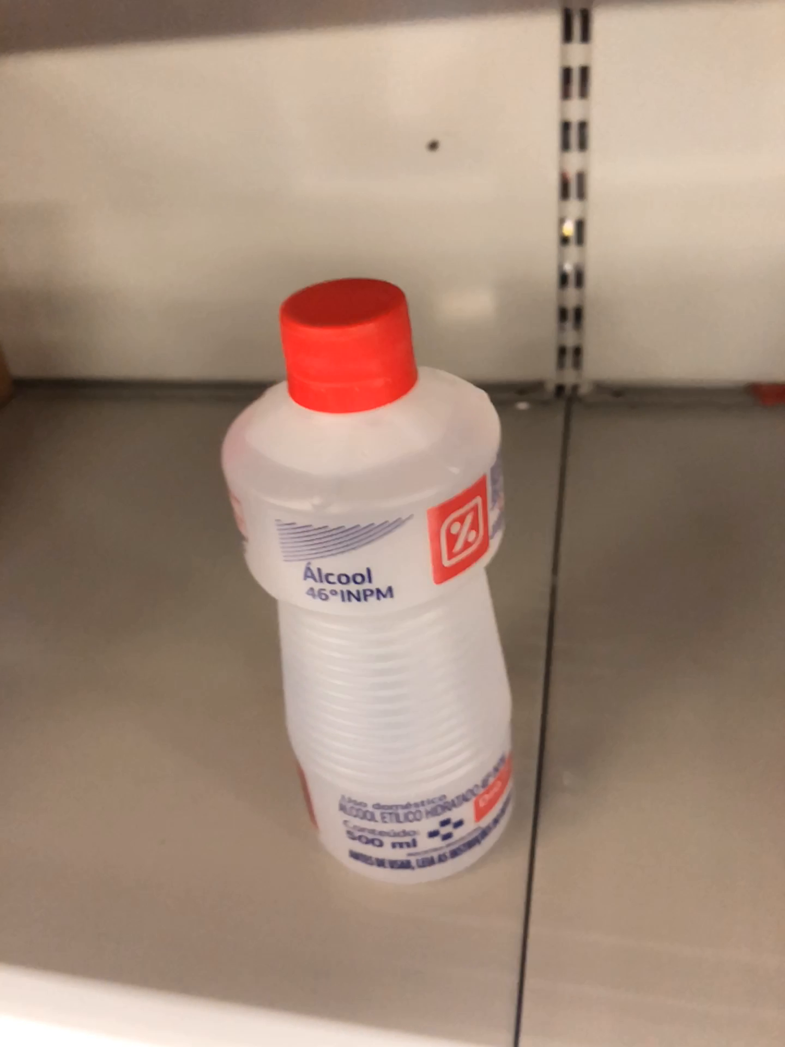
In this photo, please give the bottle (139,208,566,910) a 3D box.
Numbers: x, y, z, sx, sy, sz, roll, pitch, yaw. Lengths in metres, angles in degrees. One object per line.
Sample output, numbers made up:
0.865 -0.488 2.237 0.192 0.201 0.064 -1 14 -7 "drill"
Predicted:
0.002 0.019 0.249 0.080 0.179 0.081 -5 36 4 "bottle"
